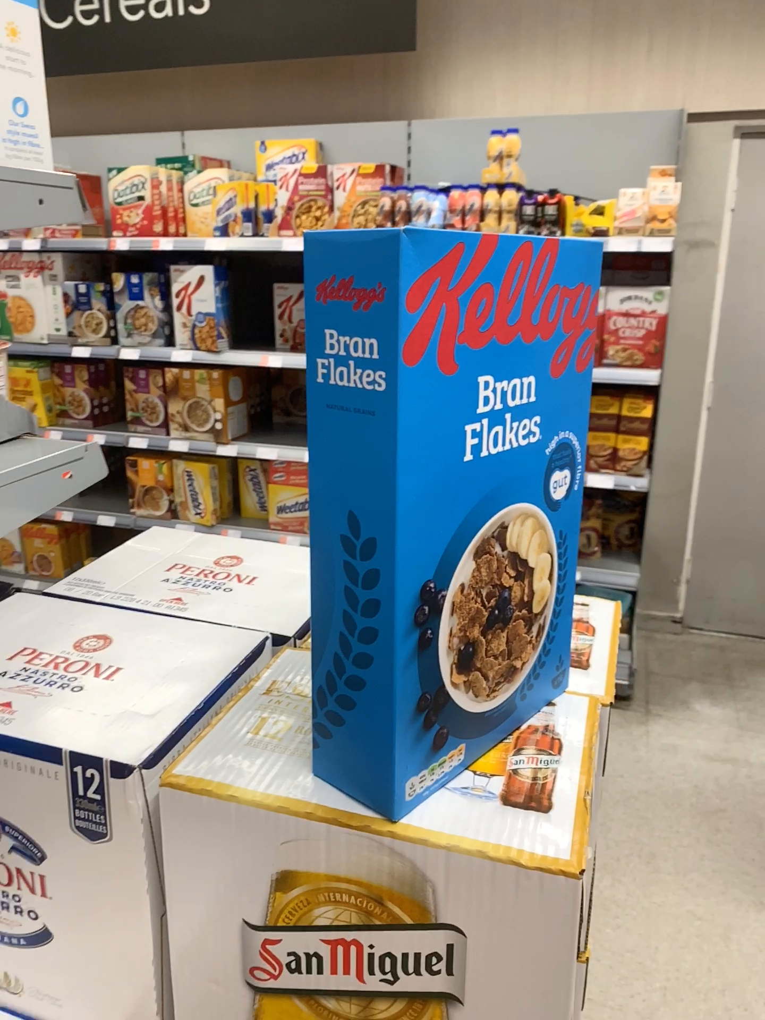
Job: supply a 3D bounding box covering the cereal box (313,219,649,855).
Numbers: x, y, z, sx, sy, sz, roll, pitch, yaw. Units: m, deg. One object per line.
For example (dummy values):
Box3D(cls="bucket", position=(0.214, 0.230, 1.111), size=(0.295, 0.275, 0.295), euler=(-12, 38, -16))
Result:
Box3D(cls="cereal box", position=(0.059, -0.001, 0.435), size=(0.070, 0.288, 0.201), euler=(13, 20, 38))
